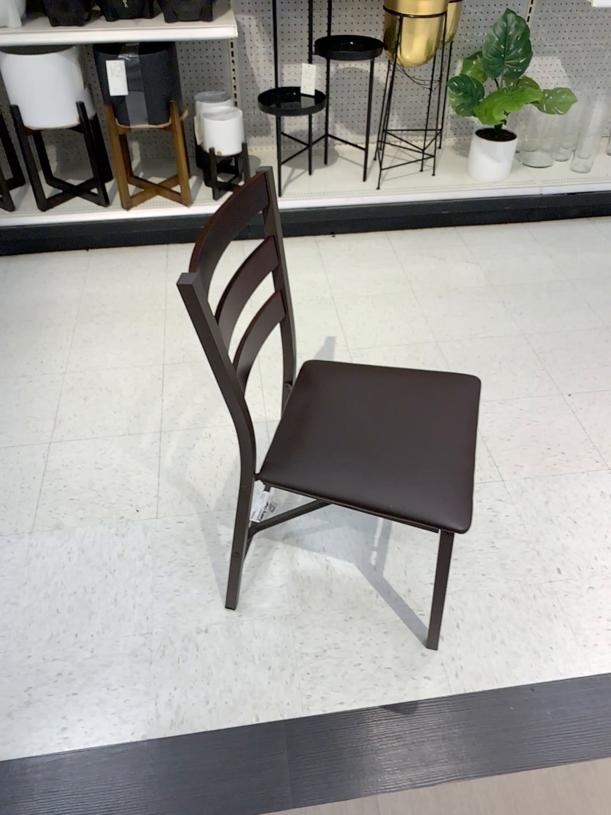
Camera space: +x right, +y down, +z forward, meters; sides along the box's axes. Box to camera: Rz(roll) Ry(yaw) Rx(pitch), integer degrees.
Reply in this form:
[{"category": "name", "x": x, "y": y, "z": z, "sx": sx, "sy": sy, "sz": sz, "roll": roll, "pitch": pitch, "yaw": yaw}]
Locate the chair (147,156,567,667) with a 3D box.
[{"category": "chair", "x": 0.103, "y": 0.041, "z": 1.201, "sx": 0.520, "sy": 0.826, "sz": 0.442, "roll": 10, "pitch": 44, "yaw": 11}]
